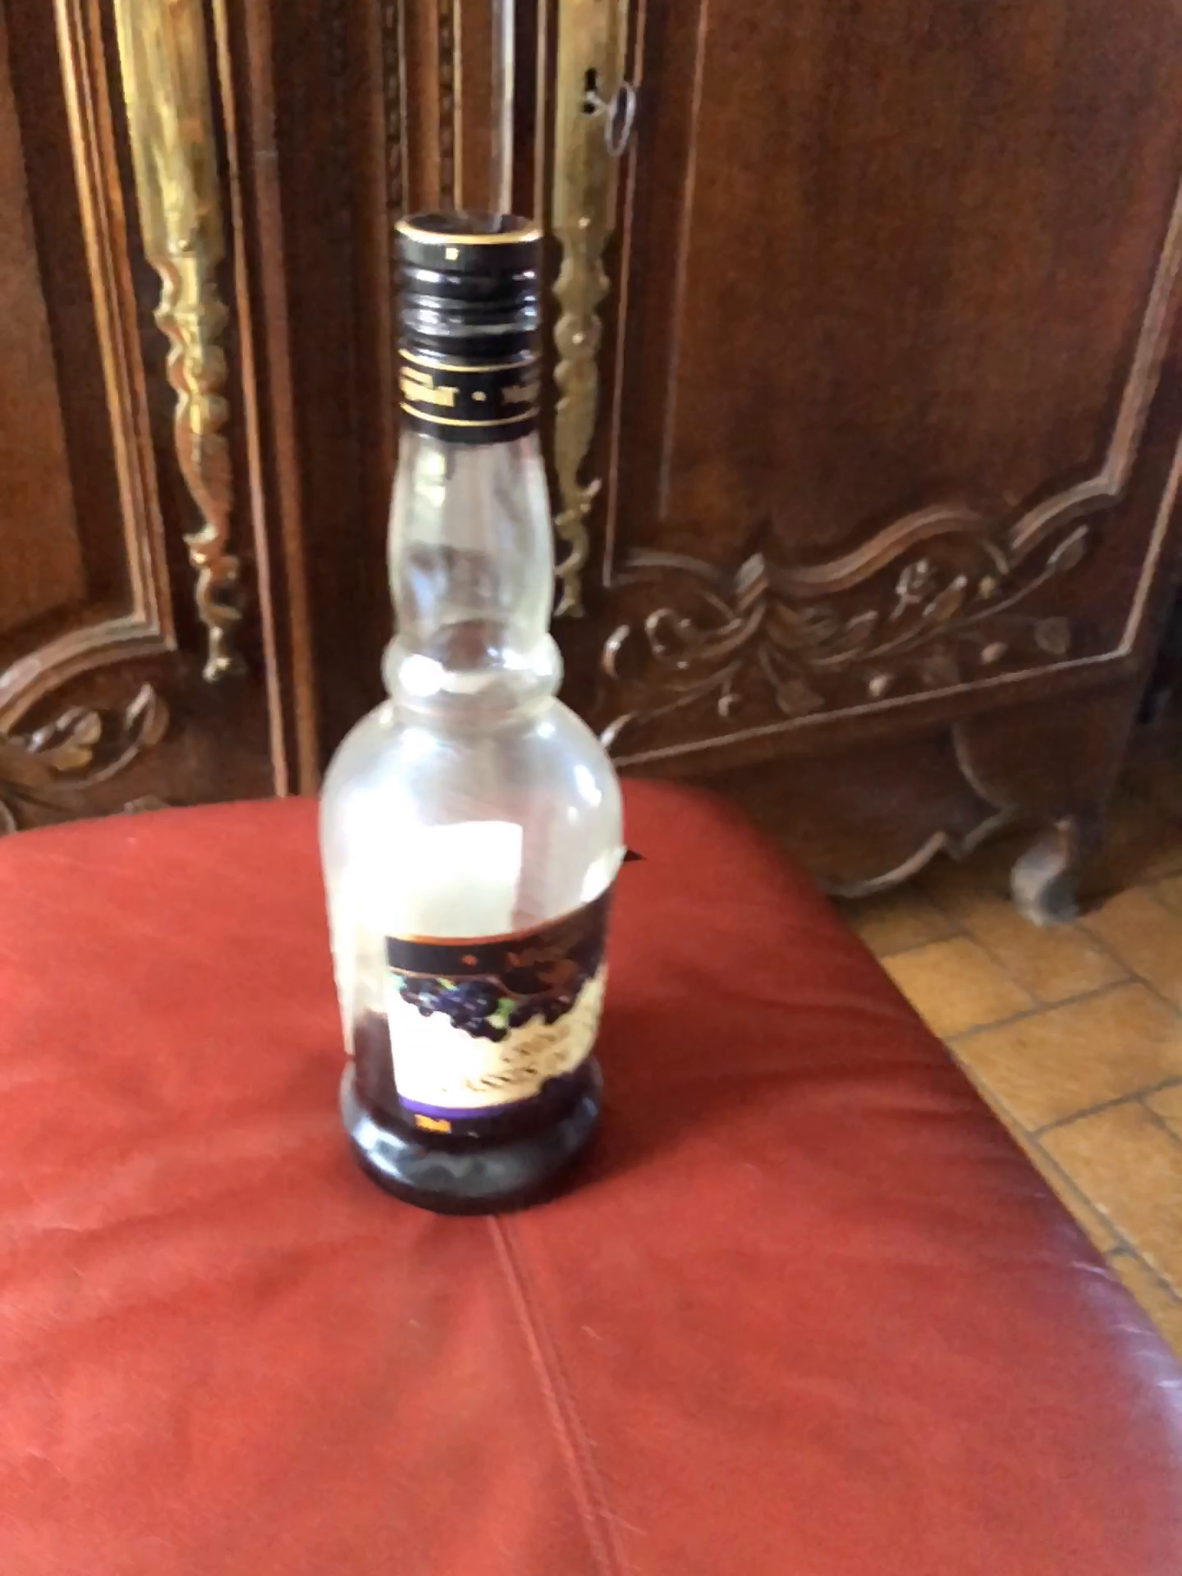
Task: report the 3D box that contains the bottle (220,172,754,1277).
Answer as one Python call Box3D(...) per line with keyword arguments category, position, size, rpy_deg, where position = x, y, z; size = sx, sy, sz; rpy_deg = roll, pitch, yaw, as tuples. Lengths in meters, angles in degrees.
Box3D(category="bottle", position=(-0.029, -0.005, 0.355), size=(0.080, 0.278, 0.080), rpy_deg=(3, 33, -2))
